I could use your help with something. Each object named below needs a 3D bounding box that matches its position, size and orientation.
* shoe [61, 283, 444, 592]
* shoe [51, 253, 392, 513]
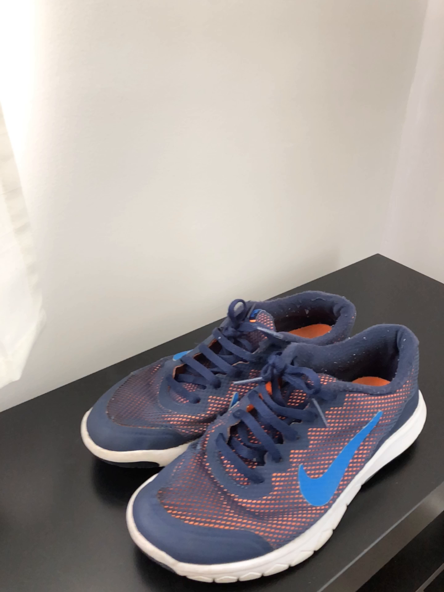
[{"bbox_3d":[0.042,0.094,0.345,0.260,0.089,0.120,-23,39,-33],"label":"shoe"},{"bbox_3d":[0.008,0.054,0.414,0.260,0.089,0.100,-18,36,-28],"label":"shoe"}]
